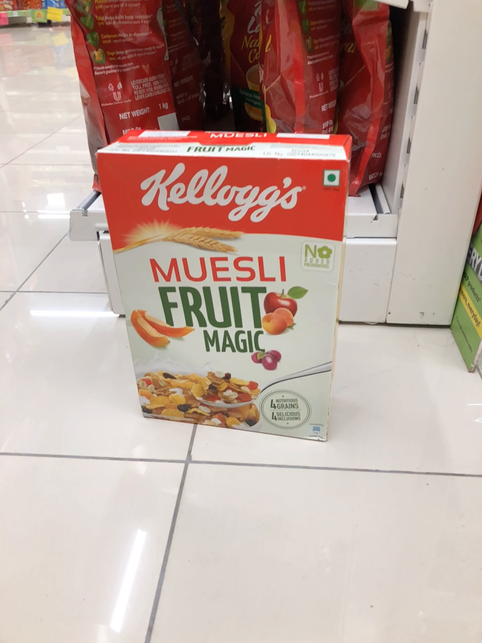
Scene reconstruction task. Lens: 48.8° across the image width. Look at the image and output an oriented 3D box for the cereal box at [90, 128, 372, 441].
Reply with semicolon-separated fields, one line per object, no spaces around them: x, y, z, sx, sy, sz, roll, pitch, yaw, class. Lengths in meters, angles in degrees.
0.000;-0.028;0.447;0.190;0.238;0.081;5;33;11;cereal box
